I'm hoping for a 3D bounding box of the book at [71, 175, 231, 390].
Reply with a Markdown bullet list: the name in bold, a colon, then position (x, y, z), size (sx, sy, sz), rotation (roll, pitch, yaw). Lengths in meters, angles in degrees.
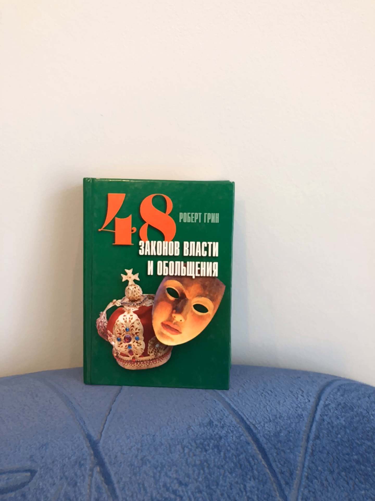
- **book**: position (-0.022, 0.020, 0.303), size (0.106, 0.141, 0.050), rotation (0, 4, 6)
